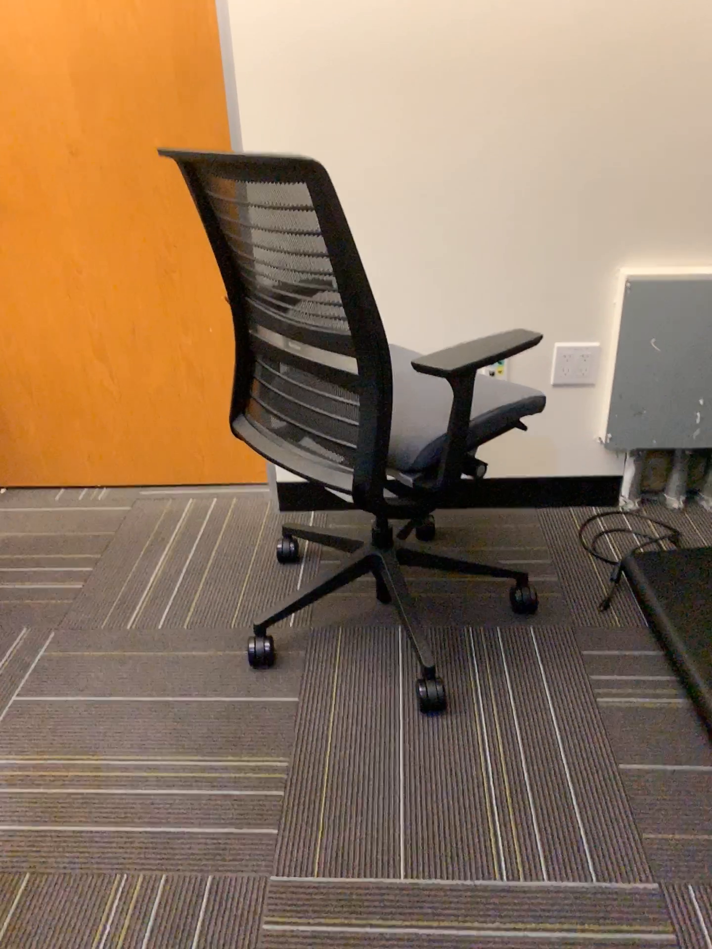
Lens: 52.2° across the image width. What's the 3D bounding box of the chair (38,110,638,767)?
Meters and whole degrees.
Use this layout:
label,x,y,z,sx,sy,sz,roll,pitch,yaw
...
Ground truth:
label,x,y,z,sx,sy,sz,roll,pitch,yaw
chair,0.018,-0.179,1.515,0.743,0.994,0.782,17,33,33
